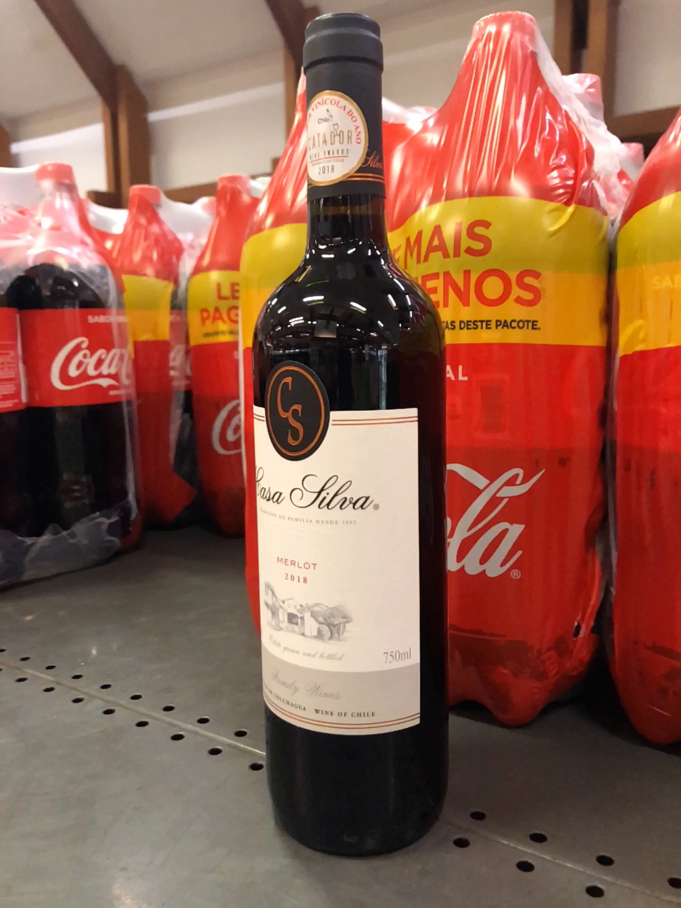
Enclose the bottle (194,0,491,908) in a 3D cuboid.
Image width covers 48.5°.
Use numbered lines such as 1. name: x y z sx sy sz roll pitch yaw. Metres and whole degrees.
1. bottle: 0.004 -0.003 0.289 0.080 0.309 0.070 4 9 33
